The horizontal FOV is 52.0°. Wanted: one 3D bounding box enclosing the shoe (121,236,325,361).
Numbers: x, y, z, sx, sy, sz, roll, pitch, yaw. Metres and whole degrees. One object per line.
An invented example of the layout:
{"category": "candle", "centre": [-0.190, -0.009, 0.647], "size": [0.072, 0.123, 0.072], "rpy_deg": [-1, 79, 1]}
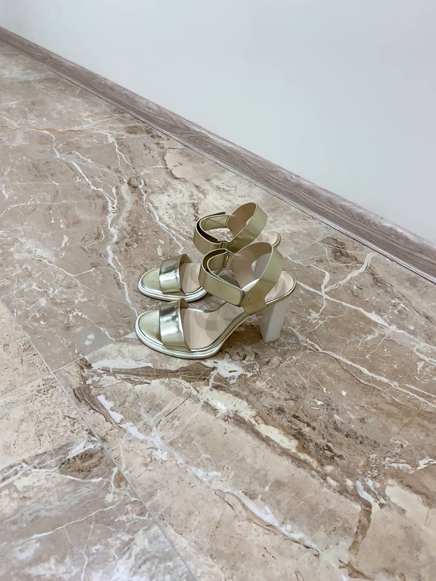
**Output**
{"category": "shoe", "centre": [0.001, 0.012, 0.578], "size": [0.230, 0.119, 0.101], "rpy_deg": [2, 39, -5]}

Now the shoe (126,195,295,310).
{"category": "shoe", "centre": [-0.015, -0.055, 0.660], "size": [0.220, 0.129, 0.096], "rpy_deg": [2, 39, -4]}
